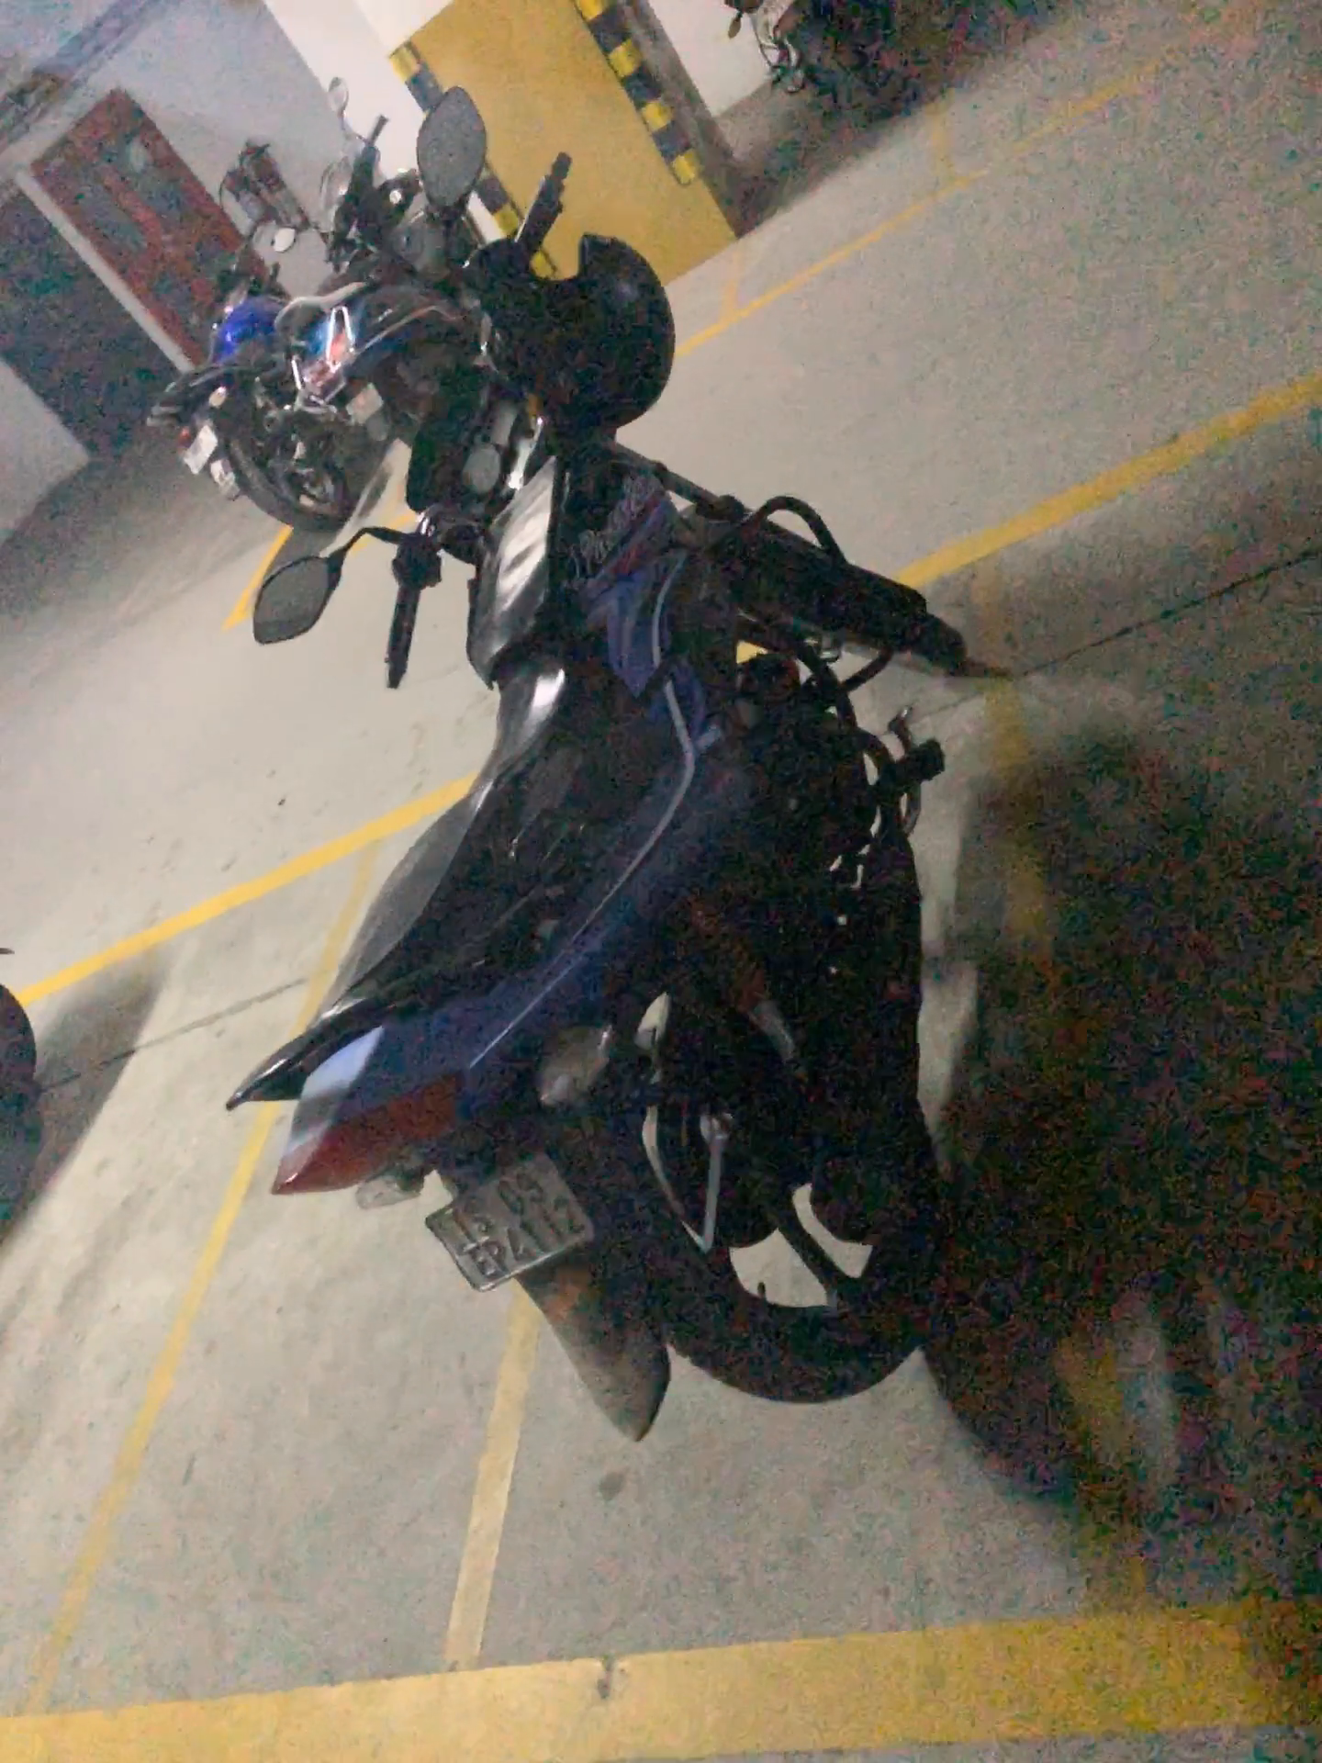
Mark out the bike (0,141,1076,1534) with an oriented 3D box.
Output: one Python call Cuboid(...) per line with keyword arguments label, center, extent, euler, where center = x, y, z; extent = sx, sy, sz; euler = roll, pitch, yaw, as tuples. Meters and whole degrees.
Cuboid(label="bike", center=(-0.181, -0.172, 1.960), extent=(0.782, 1.107, 1.708), euler=(-26, 34, 21))
